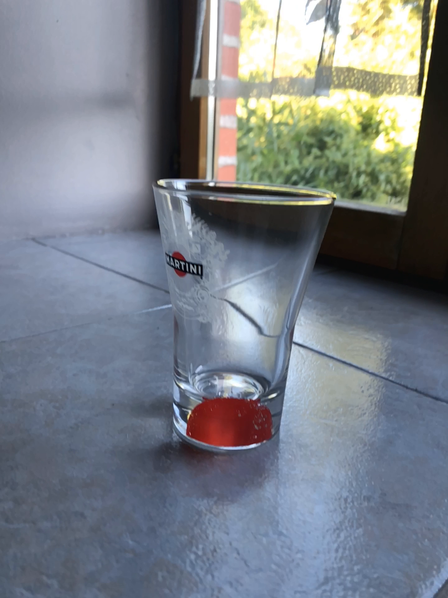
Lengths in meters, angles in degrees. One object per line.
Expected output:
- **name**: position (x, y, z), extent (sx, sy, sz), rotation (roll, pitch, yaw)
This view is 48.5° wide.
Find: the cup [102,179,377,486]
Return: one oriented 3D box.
- **cup**: position (0.002, 0.003, 0.254), extent (0.092, 0.116, 0.095), rotation (2, 18, -1)
